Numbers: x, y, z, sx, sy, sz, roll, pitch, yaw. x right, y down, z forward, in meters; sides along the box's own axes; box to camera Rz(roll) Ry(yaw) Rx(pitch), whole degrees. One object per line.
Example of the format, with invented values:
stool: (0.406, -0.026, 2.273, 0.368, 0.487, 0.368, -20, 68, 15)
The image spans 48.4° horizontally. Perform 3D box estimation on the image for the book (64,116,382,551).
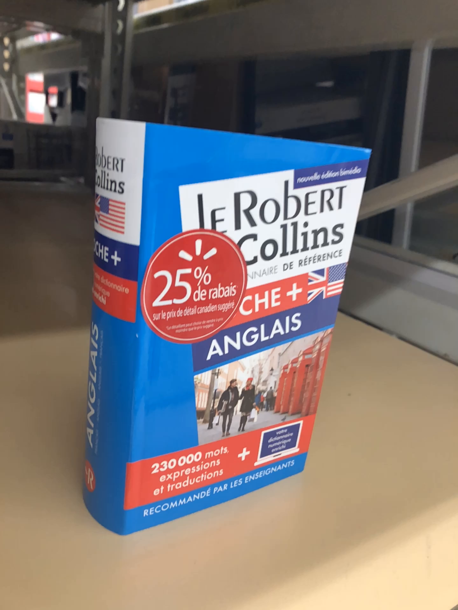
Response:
book: (-0.008, 0.009, 0.247, 0.121, 0.173, 0.059, -5, 22, -34)
